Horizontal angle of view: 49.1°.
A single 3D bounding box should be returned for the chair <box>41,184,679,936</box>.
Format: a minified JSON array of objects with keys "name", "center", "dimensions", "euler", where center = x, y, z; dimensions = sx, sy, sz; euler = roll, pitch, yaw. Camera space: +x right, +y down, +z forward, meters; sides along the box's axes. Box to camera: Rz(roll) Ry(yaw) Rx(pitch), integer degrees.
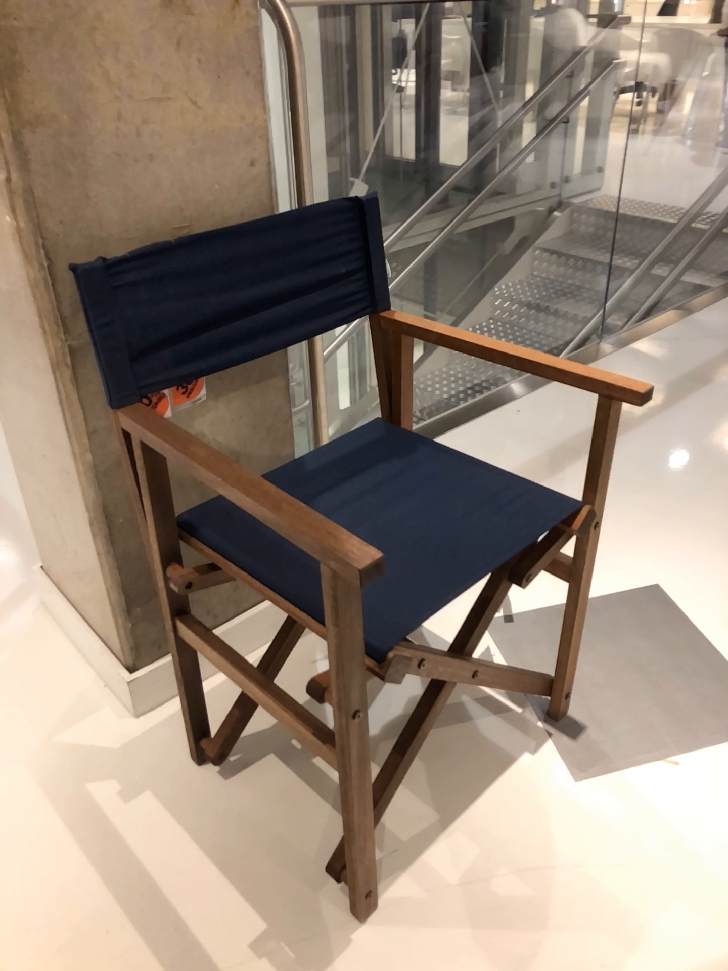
[{"name":"chair","center":[0.012,0.049,1.154],"dimensions":[0.582,0.774,0.502],"euler":[-28,40,-35]}]
